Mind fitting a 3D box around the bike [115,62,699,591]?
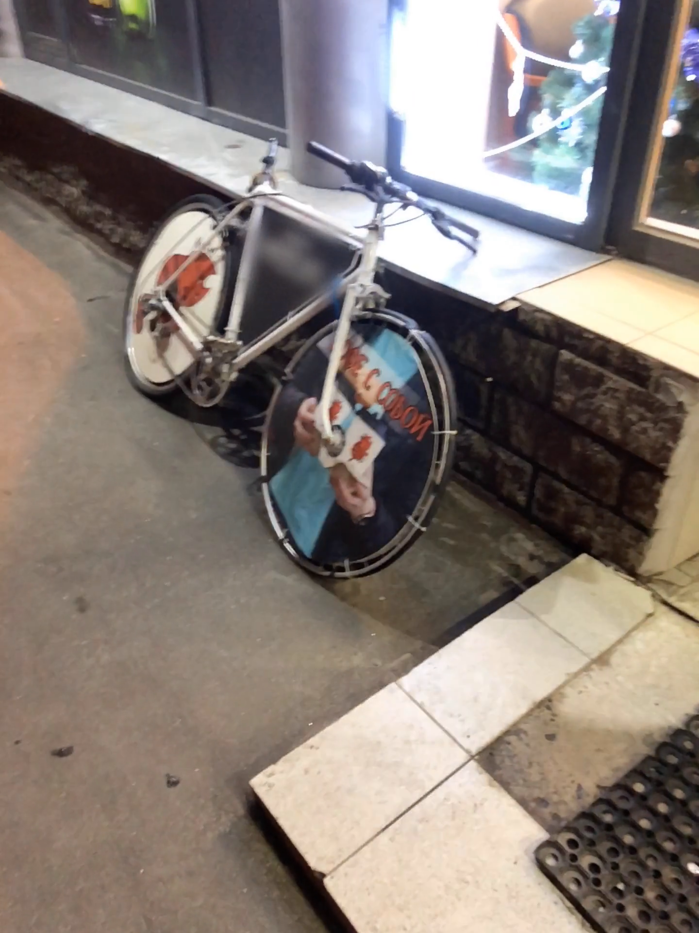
[{"bbox_3d":[0.001,-0.533,2.150,0.570,0.917,1.591,-22,39,-28],"label":"bike"}]
